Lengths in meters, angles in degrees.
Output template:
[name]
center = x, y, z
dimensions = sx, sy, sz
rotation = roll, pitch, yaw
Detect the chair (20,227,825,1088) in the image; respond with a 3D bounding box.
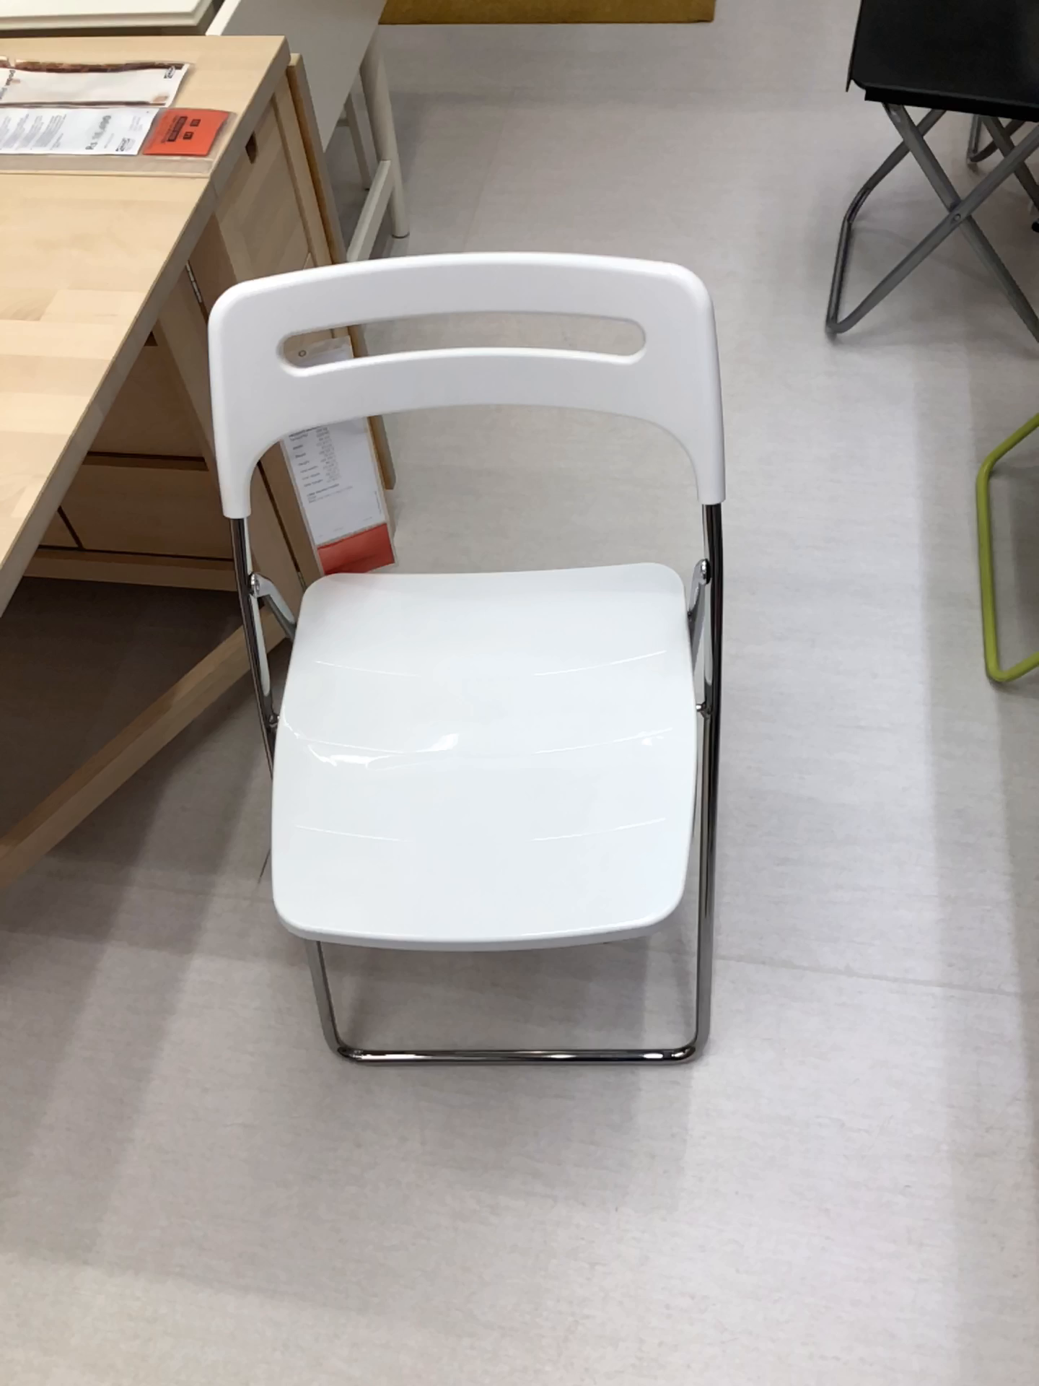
[chair]
center = -0.026, 0.038, 1.032
dimensions = 0.440, 0.716, 0.422
rotation = -1, 55, 4
